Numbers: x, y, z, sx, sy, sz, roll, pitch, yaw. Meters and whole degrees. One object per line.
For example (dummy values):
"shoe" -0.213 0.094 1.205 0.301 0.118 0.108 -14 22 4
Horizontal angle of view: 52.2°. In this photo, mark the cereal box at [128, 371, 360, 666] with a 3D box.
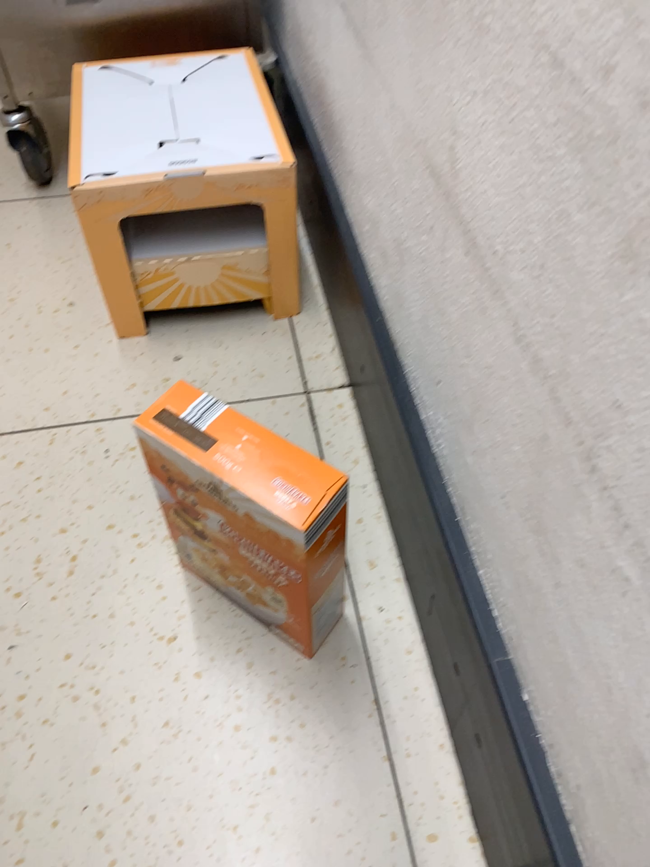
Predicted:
"cereal box" -0.073 0.096 0.667 0.201 0.268 0.070 30 56 23
